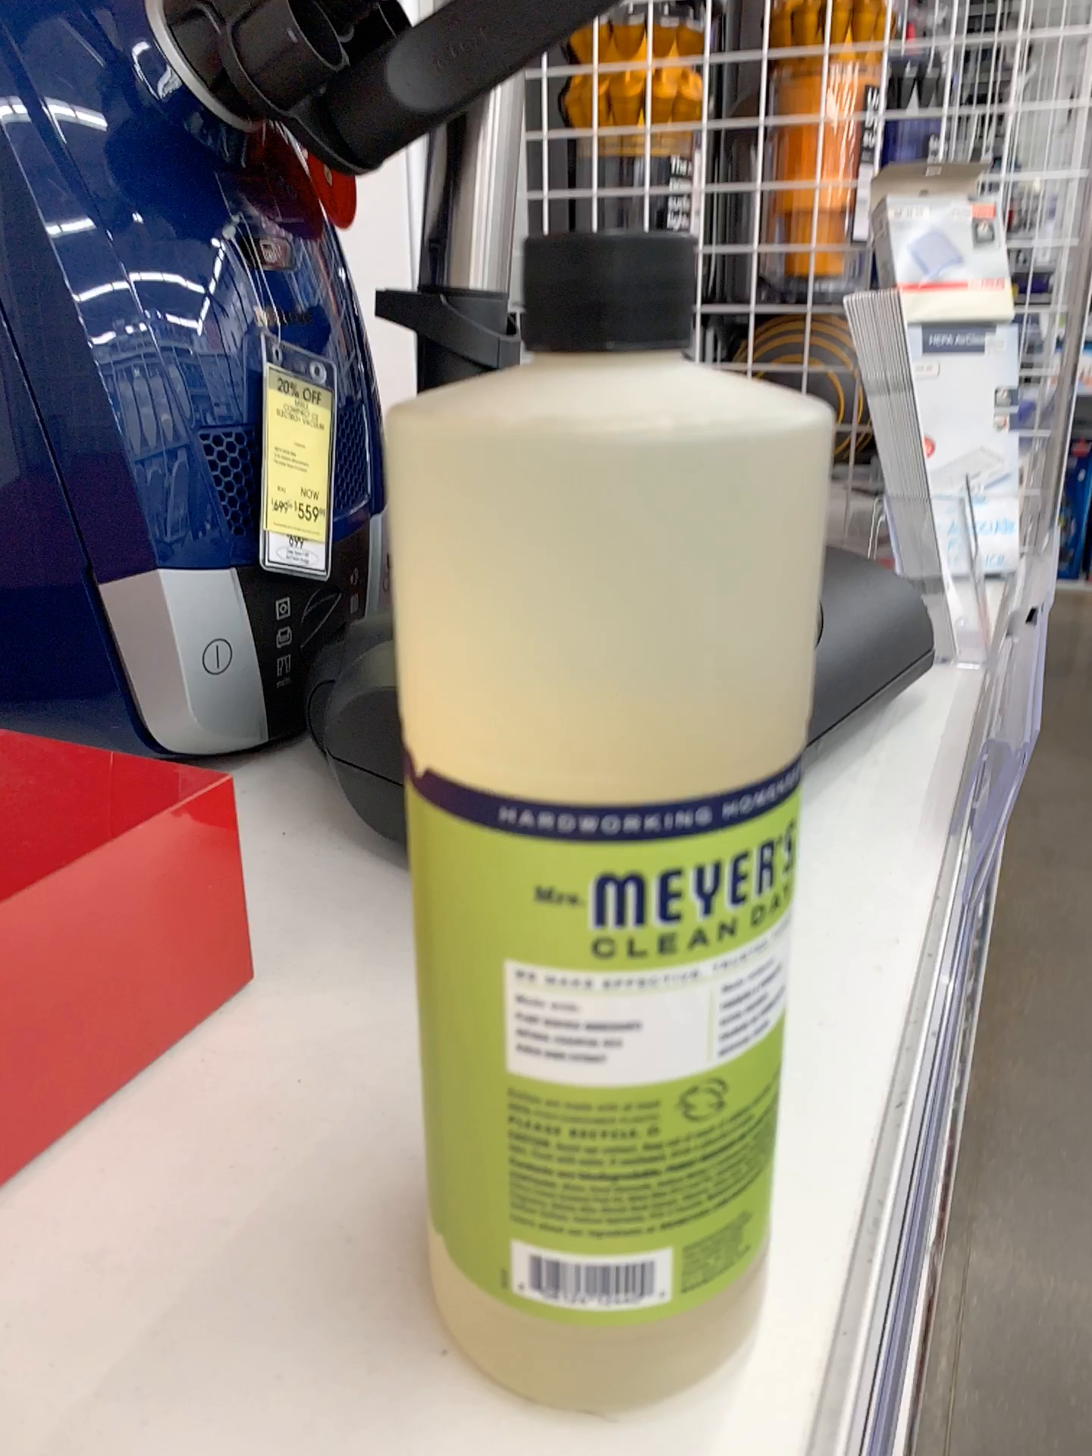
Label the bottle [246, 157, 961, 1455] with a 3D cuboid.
[{"bbox_3d":[0.006,0.019,0.238,0.090,0.239,0.090,-1,21,0],"label":"bottle"}]
